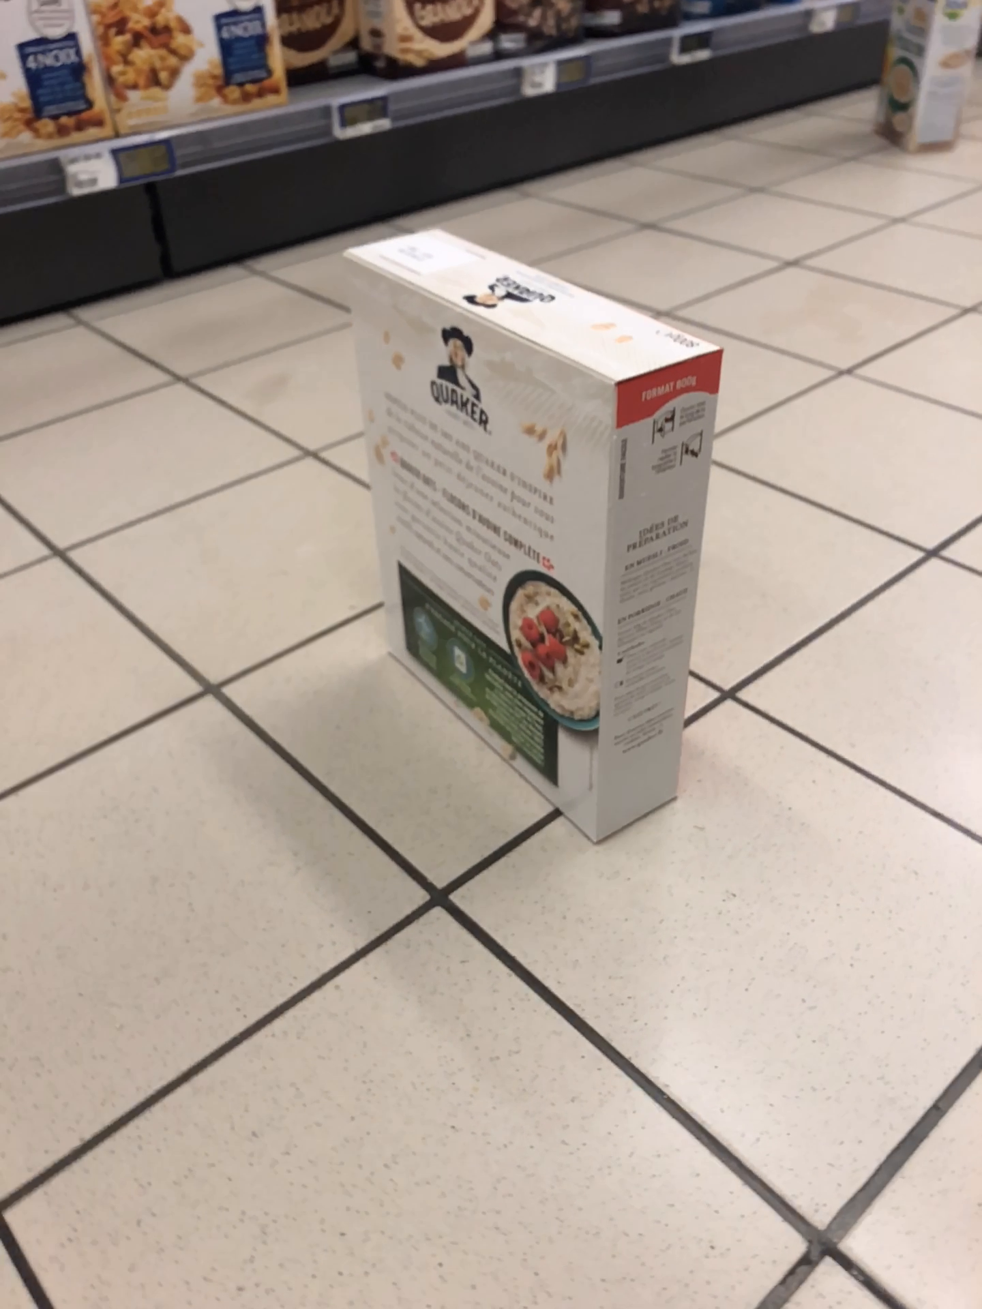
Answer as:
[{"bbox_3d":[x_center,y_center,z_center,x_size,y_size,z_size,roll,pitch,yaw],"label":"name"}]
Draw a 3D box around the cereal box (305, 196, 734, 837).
[{"bbox_3d":[0.003,-0.070,0.510,0.060,0.229,0.210,-24,41,-28],"label":"cereal box"}]
